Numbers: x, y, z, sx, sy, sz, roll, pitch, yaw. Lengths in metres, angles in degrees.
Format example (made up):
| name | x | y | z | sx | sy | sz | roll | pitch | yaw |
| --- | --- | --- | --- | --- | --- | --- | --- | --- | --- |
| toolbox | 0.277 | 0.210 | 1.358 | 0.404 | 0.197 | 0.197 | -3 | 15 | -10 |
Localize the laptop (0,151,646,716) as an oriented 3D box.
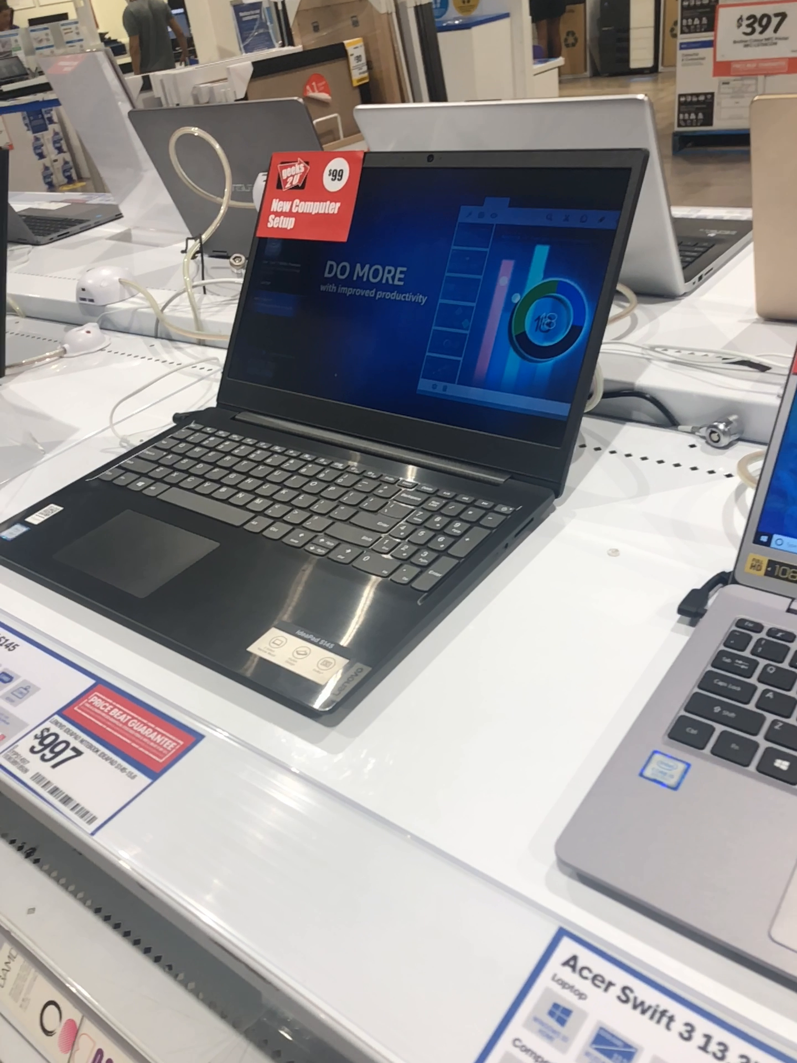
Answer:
| name | x | y | z | sx | sy | sz | roll | pitch | yaw |
| --- | --- | --- | --- | --- | --- | --- | --- | --- | --- |
| laptop | -0.073 | -0.121 | 0.618 | 0.353 | 0.192 | 0.374 | 17 | 41 | 35 |
